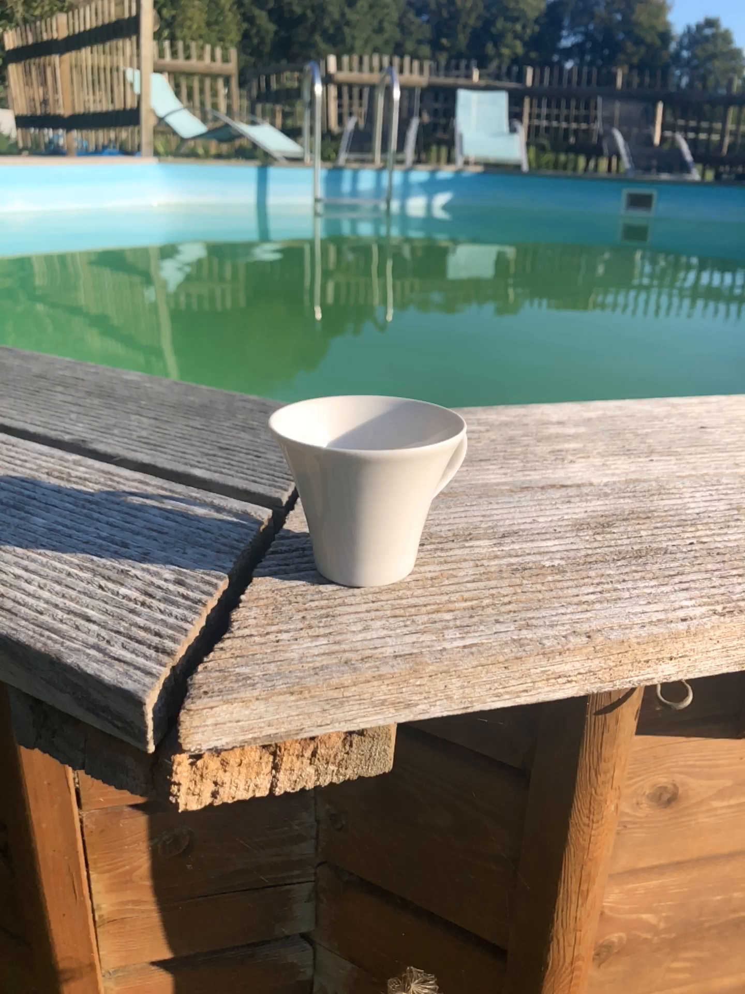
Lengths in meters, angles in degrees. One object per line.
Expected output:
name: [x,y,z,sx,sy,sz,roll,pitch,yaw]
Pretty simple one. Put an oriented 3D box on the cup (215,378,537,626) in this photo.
cup: [0.002,-0.005,0.322,0.076,0.053,0.097,22,30,39]
